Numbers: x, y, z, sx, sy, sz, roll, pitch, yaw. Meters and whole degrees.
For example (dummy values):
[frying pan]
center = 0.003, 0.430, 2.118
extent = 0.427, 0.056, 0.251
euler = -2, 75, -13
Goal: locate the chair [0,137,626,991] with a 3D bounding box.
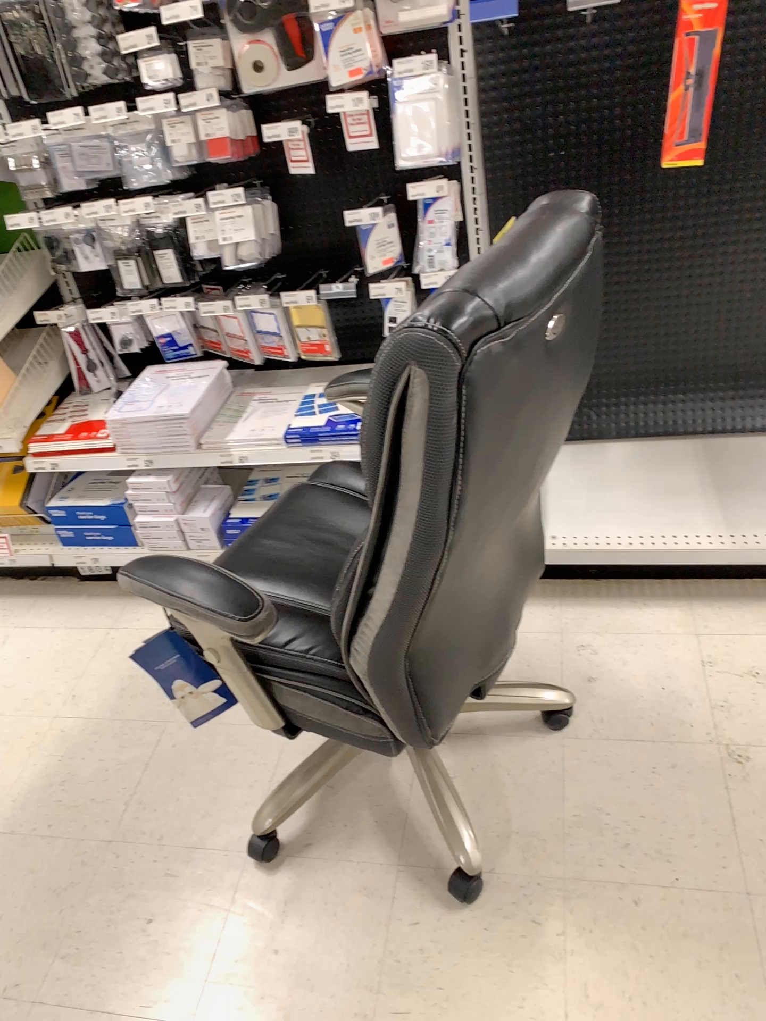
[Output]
[chair]
center = -0.069, 0.050, 1.363
extent = 0.742, 1.094, 0.742
euler = 12, 41, 30
